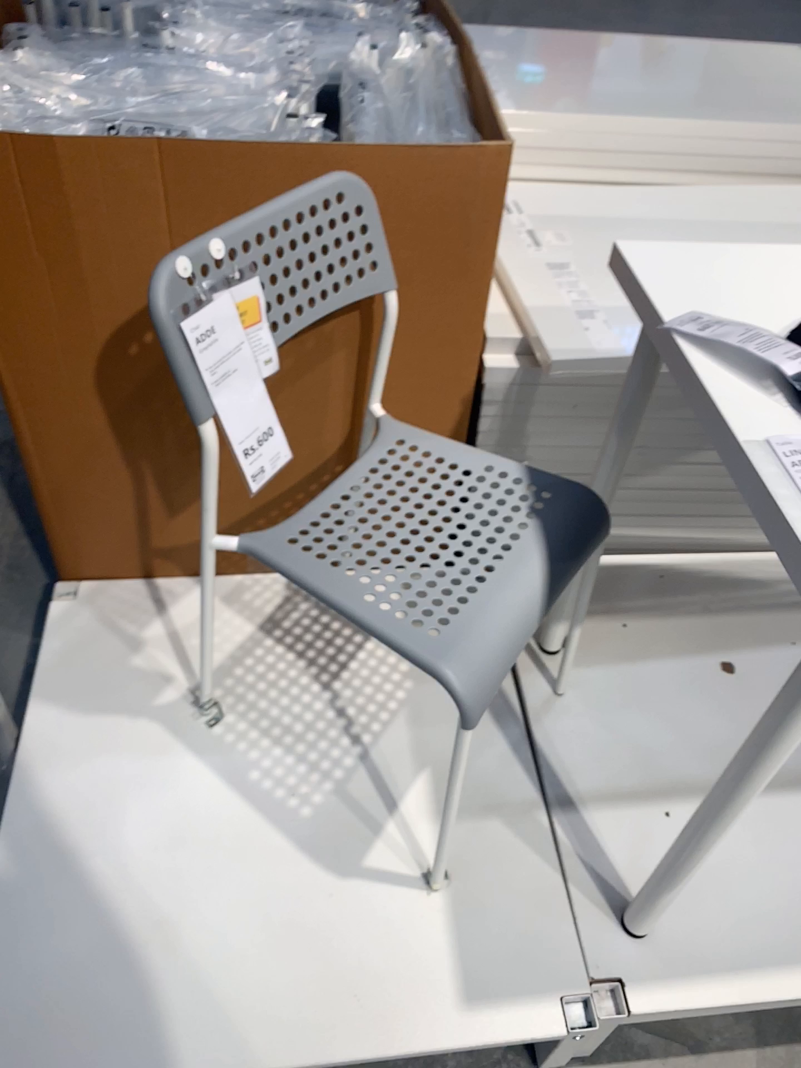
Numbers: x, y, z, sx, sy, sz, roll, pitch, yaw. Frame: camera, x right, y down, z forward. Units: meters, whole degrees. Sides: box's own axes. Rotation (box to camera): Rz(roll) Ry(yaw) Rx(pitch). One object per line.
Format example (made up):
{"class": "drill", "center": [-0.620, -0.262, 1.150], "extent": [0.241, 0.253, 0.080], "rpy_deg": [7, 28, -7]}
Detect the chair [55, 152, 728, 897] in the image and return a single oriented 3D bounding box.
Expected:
{"class": "chair", "center": [-0.013, -0.006, 1.062], "extent": [0.501, 0.687, 0.461], "rpy_deg": [28, 49, 20]}
